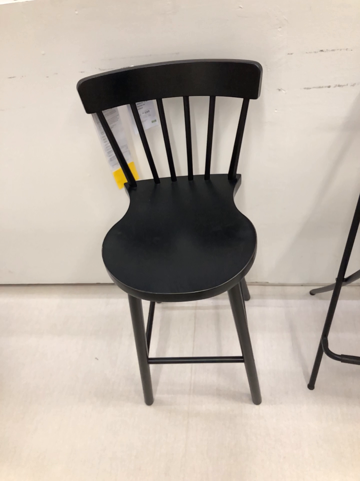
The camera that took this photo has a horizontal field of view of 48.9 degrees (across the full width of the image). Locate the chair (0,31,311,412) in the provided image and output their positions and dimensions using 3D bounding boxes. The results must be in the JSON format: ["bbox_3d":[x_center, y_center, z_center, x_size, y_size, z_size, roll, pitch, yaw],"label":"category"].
[{"bbox_3d":[0.008,0.039,1.032,0.460,0.875,0.483,-4,48,7],"label":"chair"}]
